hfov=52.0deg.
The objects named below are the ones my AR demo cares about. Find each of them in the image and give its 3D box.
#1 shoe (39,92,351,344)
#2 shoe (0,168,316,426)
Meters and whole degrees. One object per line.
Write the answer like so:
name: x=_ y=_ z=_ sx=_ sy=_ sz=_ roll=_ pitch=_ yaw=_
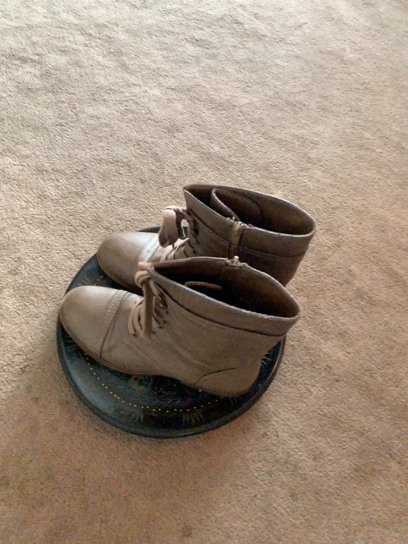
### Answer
shoe: x=-0.013 y=-0.046 z=0.472 sx=0.270 sy=0.199 sz=0.101 roll=21 pitch=62 yaw=6
shoe: x=-0.055 y=0.041 z=0.423 sx=0.260 sy=0.199 sz=0.101 roll=21 pitch=62 yaw=6
